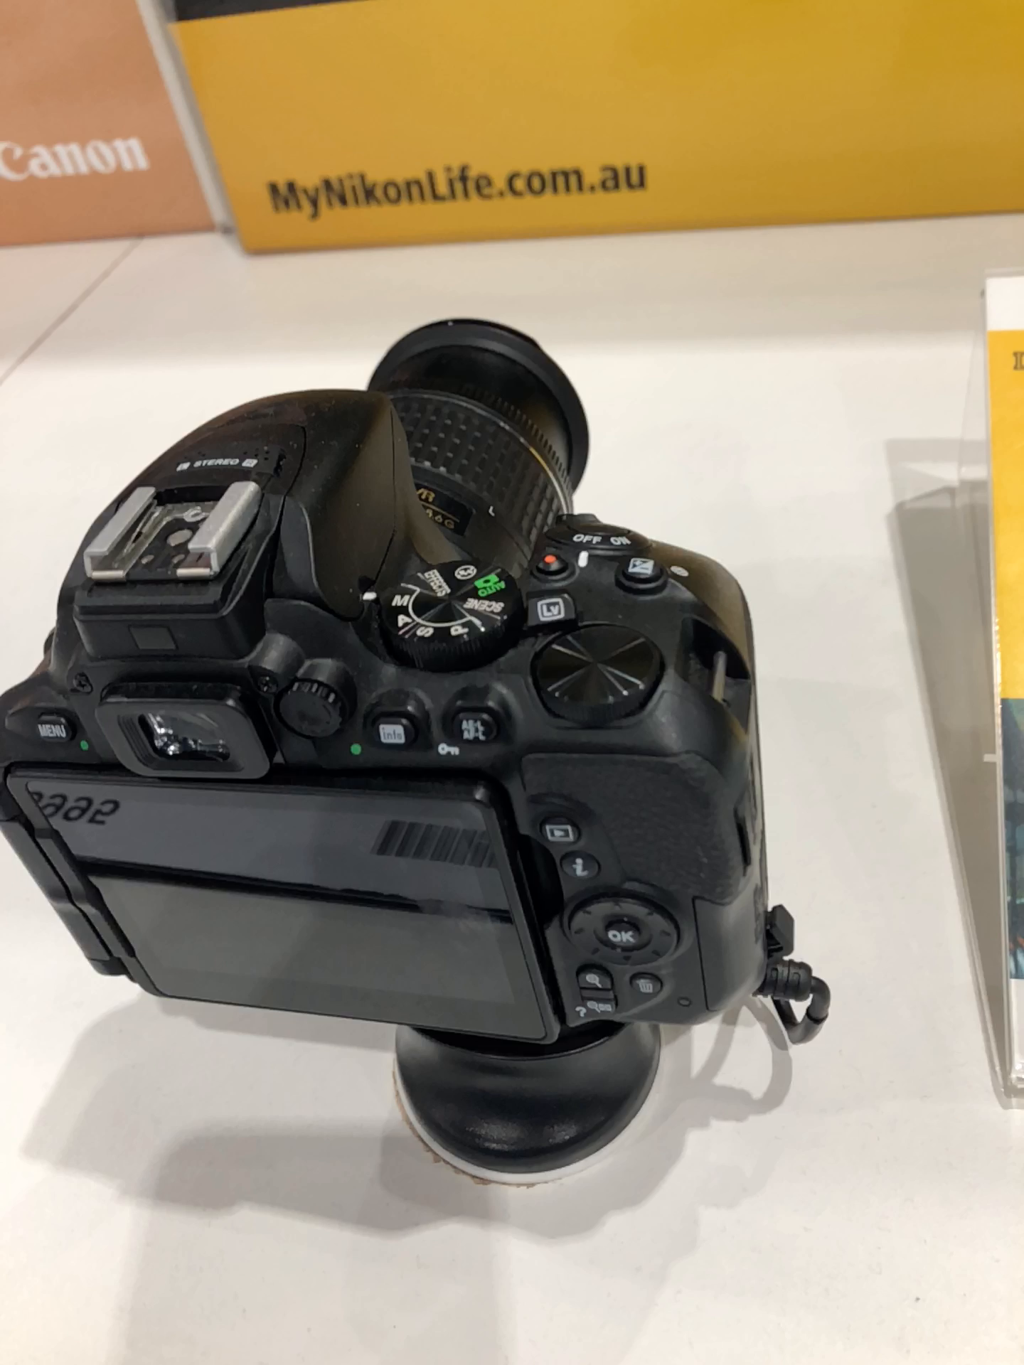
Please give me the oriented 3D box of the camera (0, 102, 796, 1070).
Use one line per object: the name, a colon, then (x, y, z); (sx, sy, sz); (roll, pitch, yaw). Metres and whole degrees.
camera: (-0.013, -0.030, 0.229); (0.127, 0.097, 0.163); (2, 45, 15)
